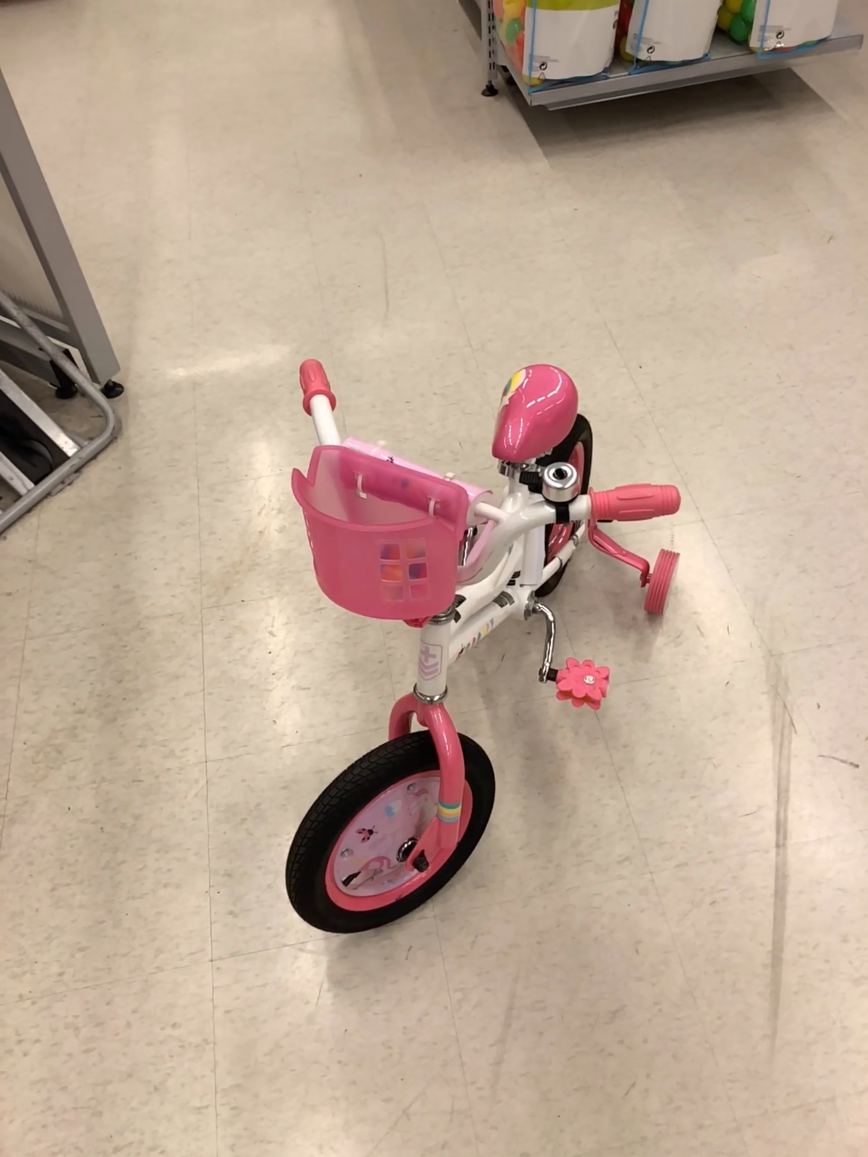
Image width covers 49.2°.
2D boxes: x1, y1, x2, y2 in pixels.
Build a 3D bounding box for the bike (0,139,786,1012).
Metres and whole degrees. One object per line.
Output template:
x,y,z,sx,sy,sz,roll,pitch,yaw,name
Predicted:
0.030,-0.022,1.267,0.457,0.632,0.881,21,57,20,bike
